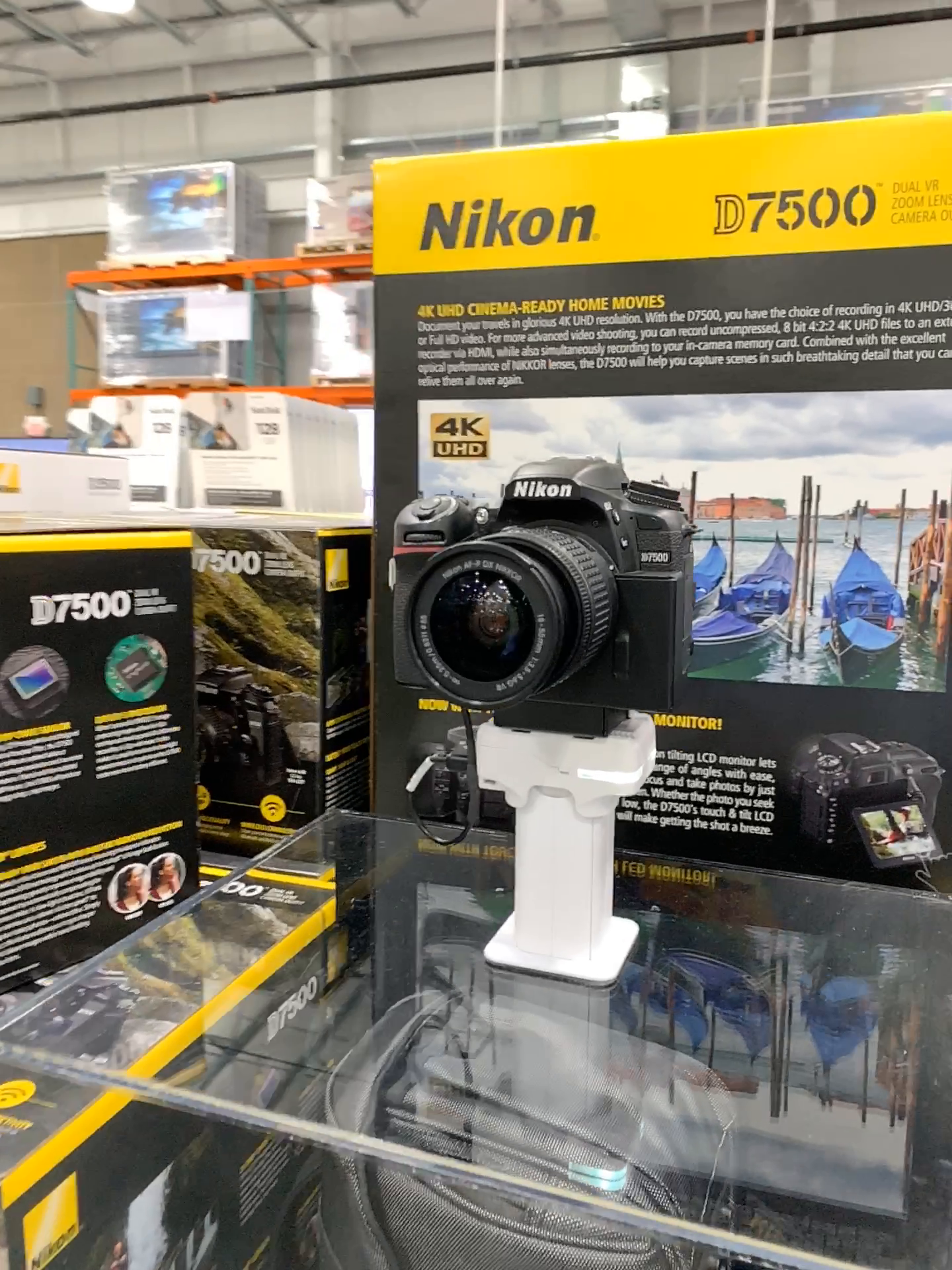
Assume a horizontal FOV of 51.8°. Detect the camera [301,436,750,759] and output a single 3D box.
[{"bbox_3d":[0.025,-0.023,0.411,0.160,0.110,0.110,4,7,20],"label":"camera"}]
